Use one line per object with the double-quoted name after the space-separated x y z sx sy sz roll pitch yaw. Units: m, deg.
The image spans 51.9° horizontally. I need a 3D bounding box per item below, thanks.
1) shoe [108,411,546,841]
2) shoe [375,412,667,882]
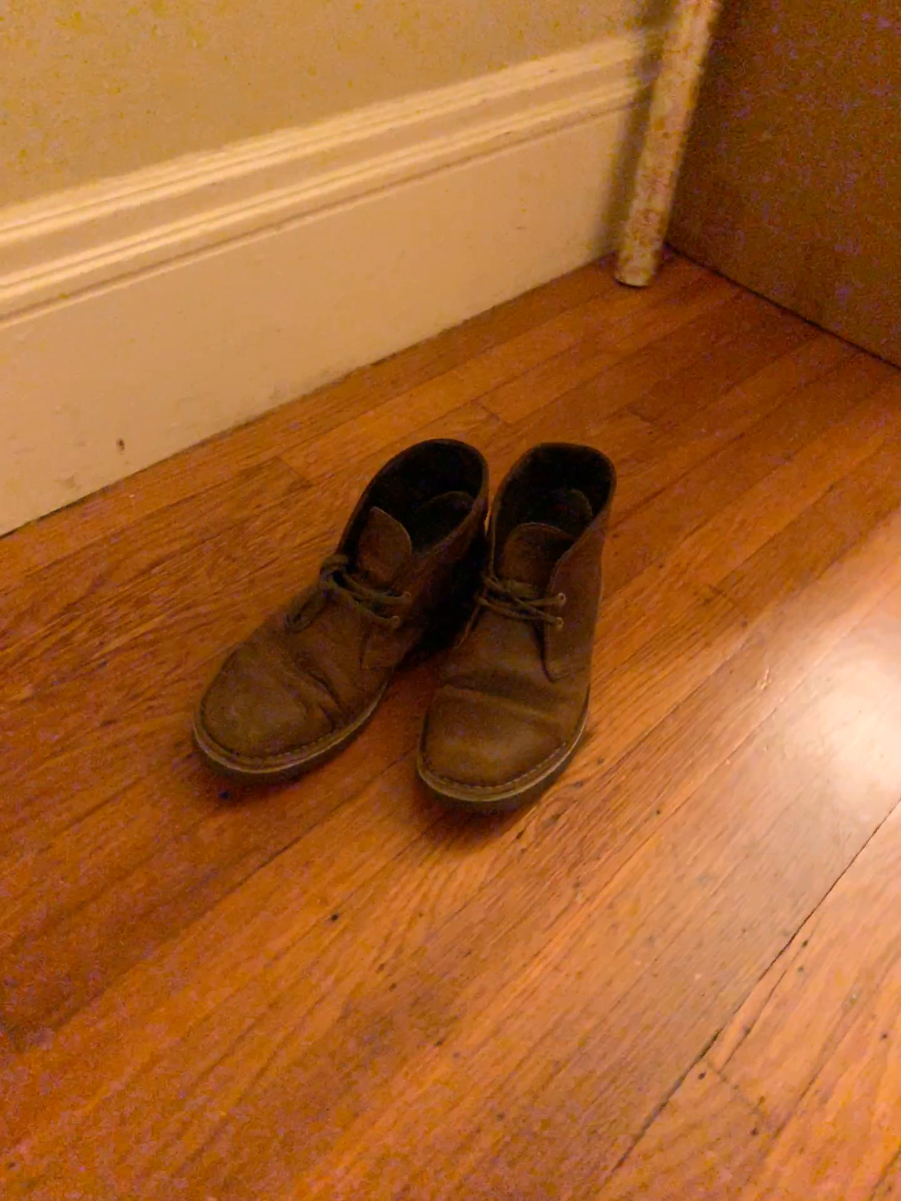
-0.072 0.004 0.652 0.120 0.119 0.291 32 52 21 "shoe"
0.057 0.016 0.644 0.120 0.119 0.301 16 48 7 "shoe"
